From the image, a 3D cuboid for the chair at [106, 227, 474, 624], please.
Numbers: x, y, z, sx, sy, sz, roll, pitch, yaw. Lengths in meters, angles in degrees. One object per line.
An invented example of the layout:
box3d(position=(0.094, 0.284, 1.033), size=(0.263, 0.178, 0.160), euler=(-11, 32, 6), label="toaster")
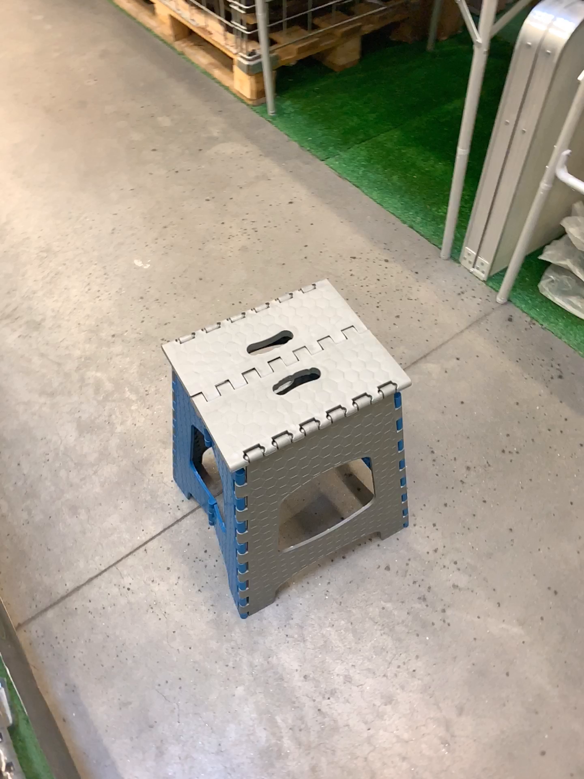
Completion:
box3d(position=(-0.013, 0.067, 0.931), size=(0.350, 0.419, 0.341), euler=(-25, 58, -16), label="chair")
